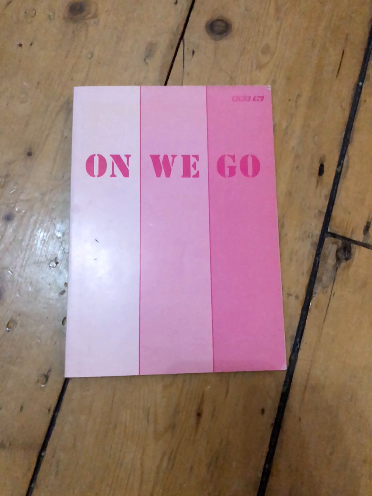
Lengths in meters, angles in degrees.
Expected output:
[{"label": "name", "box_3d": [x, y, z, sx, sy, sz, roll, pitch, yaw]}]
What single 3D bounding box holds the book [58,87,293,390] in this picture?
[{"label": "book", "box_3d": [-0.009, -0.013, 0.307, 0.160, 0.020, 0.220, -1, 81, -2]}]
